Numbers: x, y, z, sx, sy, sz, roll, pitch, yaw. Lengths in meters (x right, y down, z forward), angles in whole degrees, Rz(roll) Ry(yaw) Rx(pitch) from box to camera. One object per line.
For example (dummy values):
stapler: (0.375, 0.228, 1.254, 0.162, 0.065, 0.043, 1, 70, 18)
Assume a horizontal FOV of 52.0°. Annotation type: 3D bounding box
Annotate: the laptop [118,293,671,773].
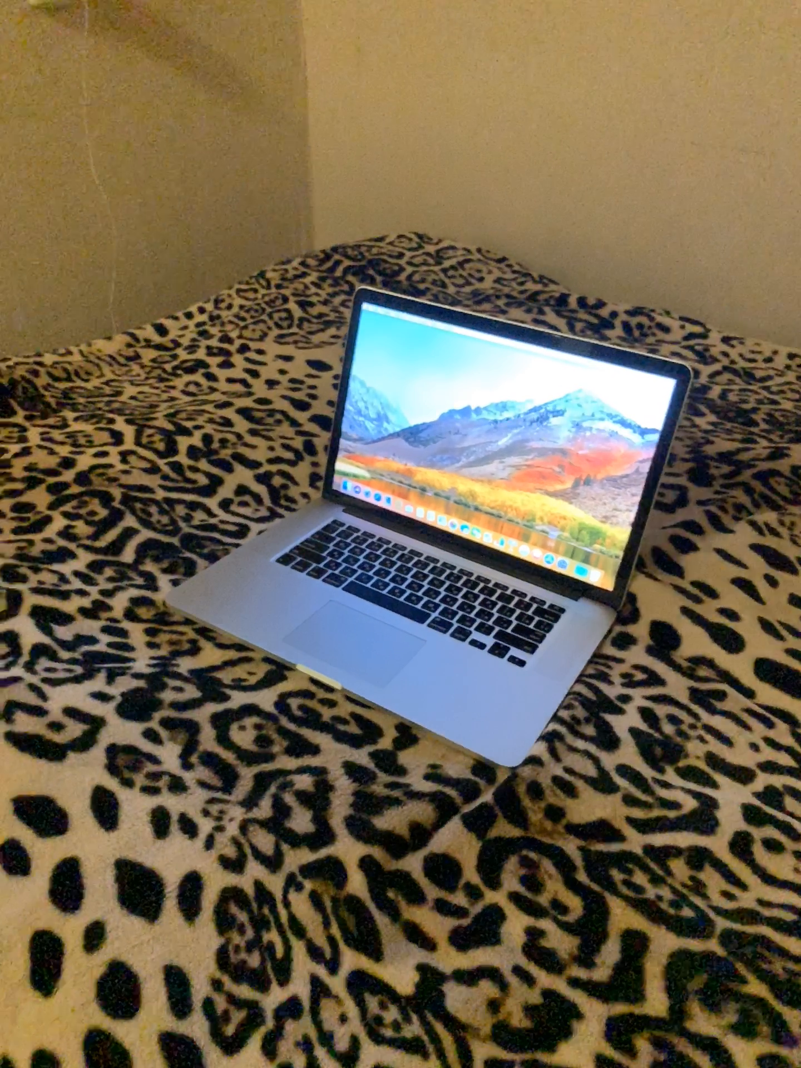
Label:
laptop: (0.010, -0.037, 0.724, 0.349, 0.222, 0.301, 20, 36, 25)
